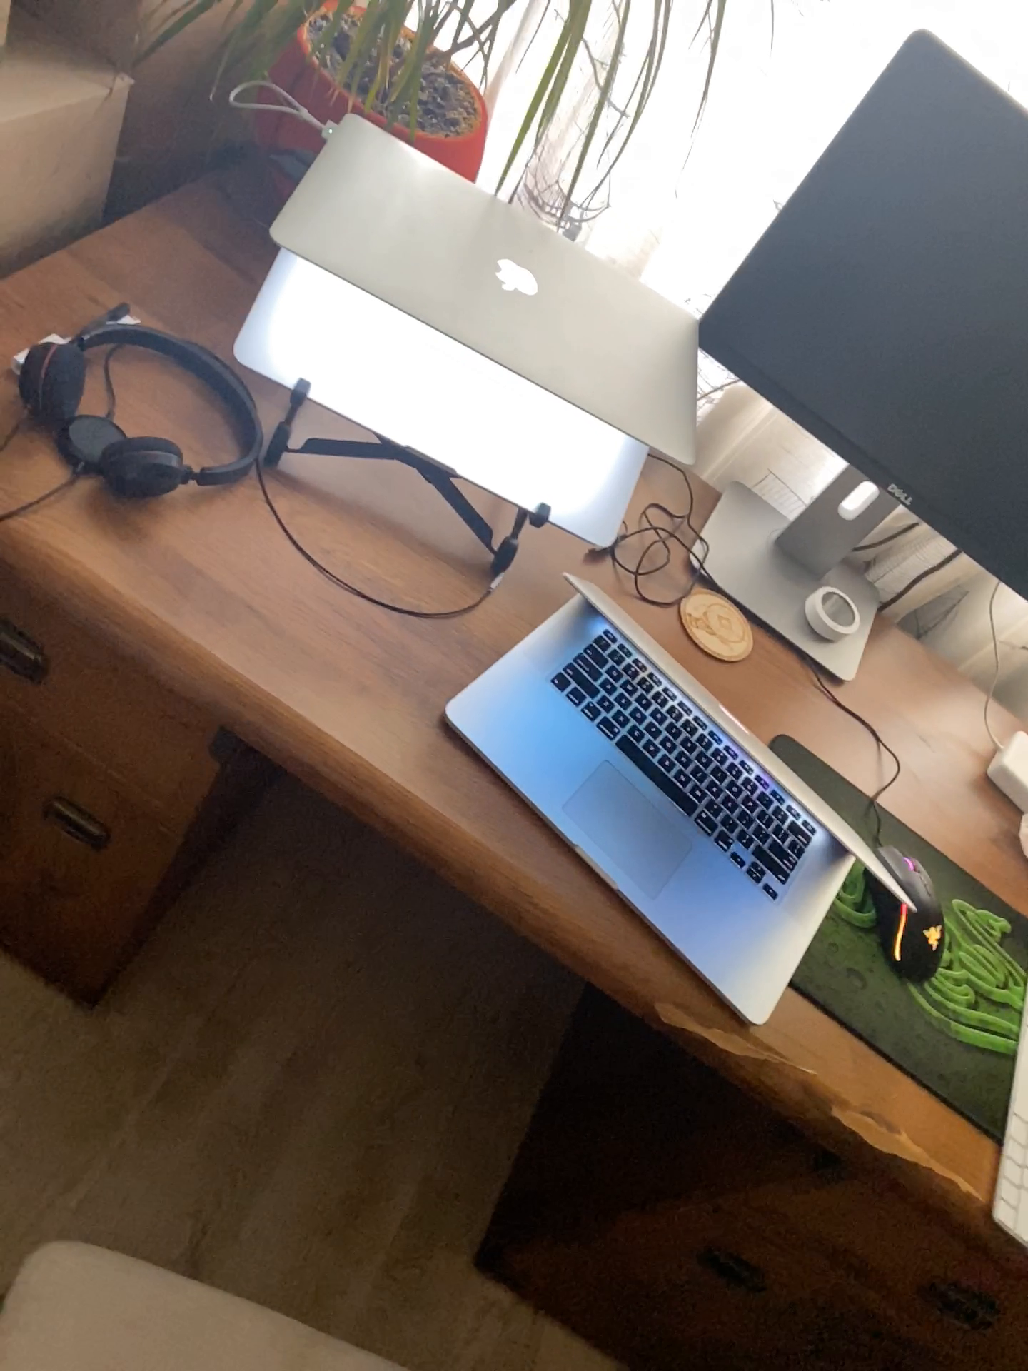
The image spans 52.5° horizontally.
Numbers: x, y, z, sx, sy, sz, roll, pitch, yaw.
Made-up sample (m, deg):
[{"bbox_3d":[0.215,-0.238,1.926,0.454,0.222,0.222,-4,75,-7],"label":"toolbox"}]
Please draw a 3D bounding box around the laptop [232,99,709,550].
[{"bbox_3d":[-0.022,-0.307,0.897,0.355,0.022,0.243,25,73,-14],"label":"laptop"}]

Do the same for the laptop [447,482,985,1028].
[{"bbox_3d":[0.169,0.048,0.859,0.355,0.152,0.236,45,47,4],"label":"laptop"}]
